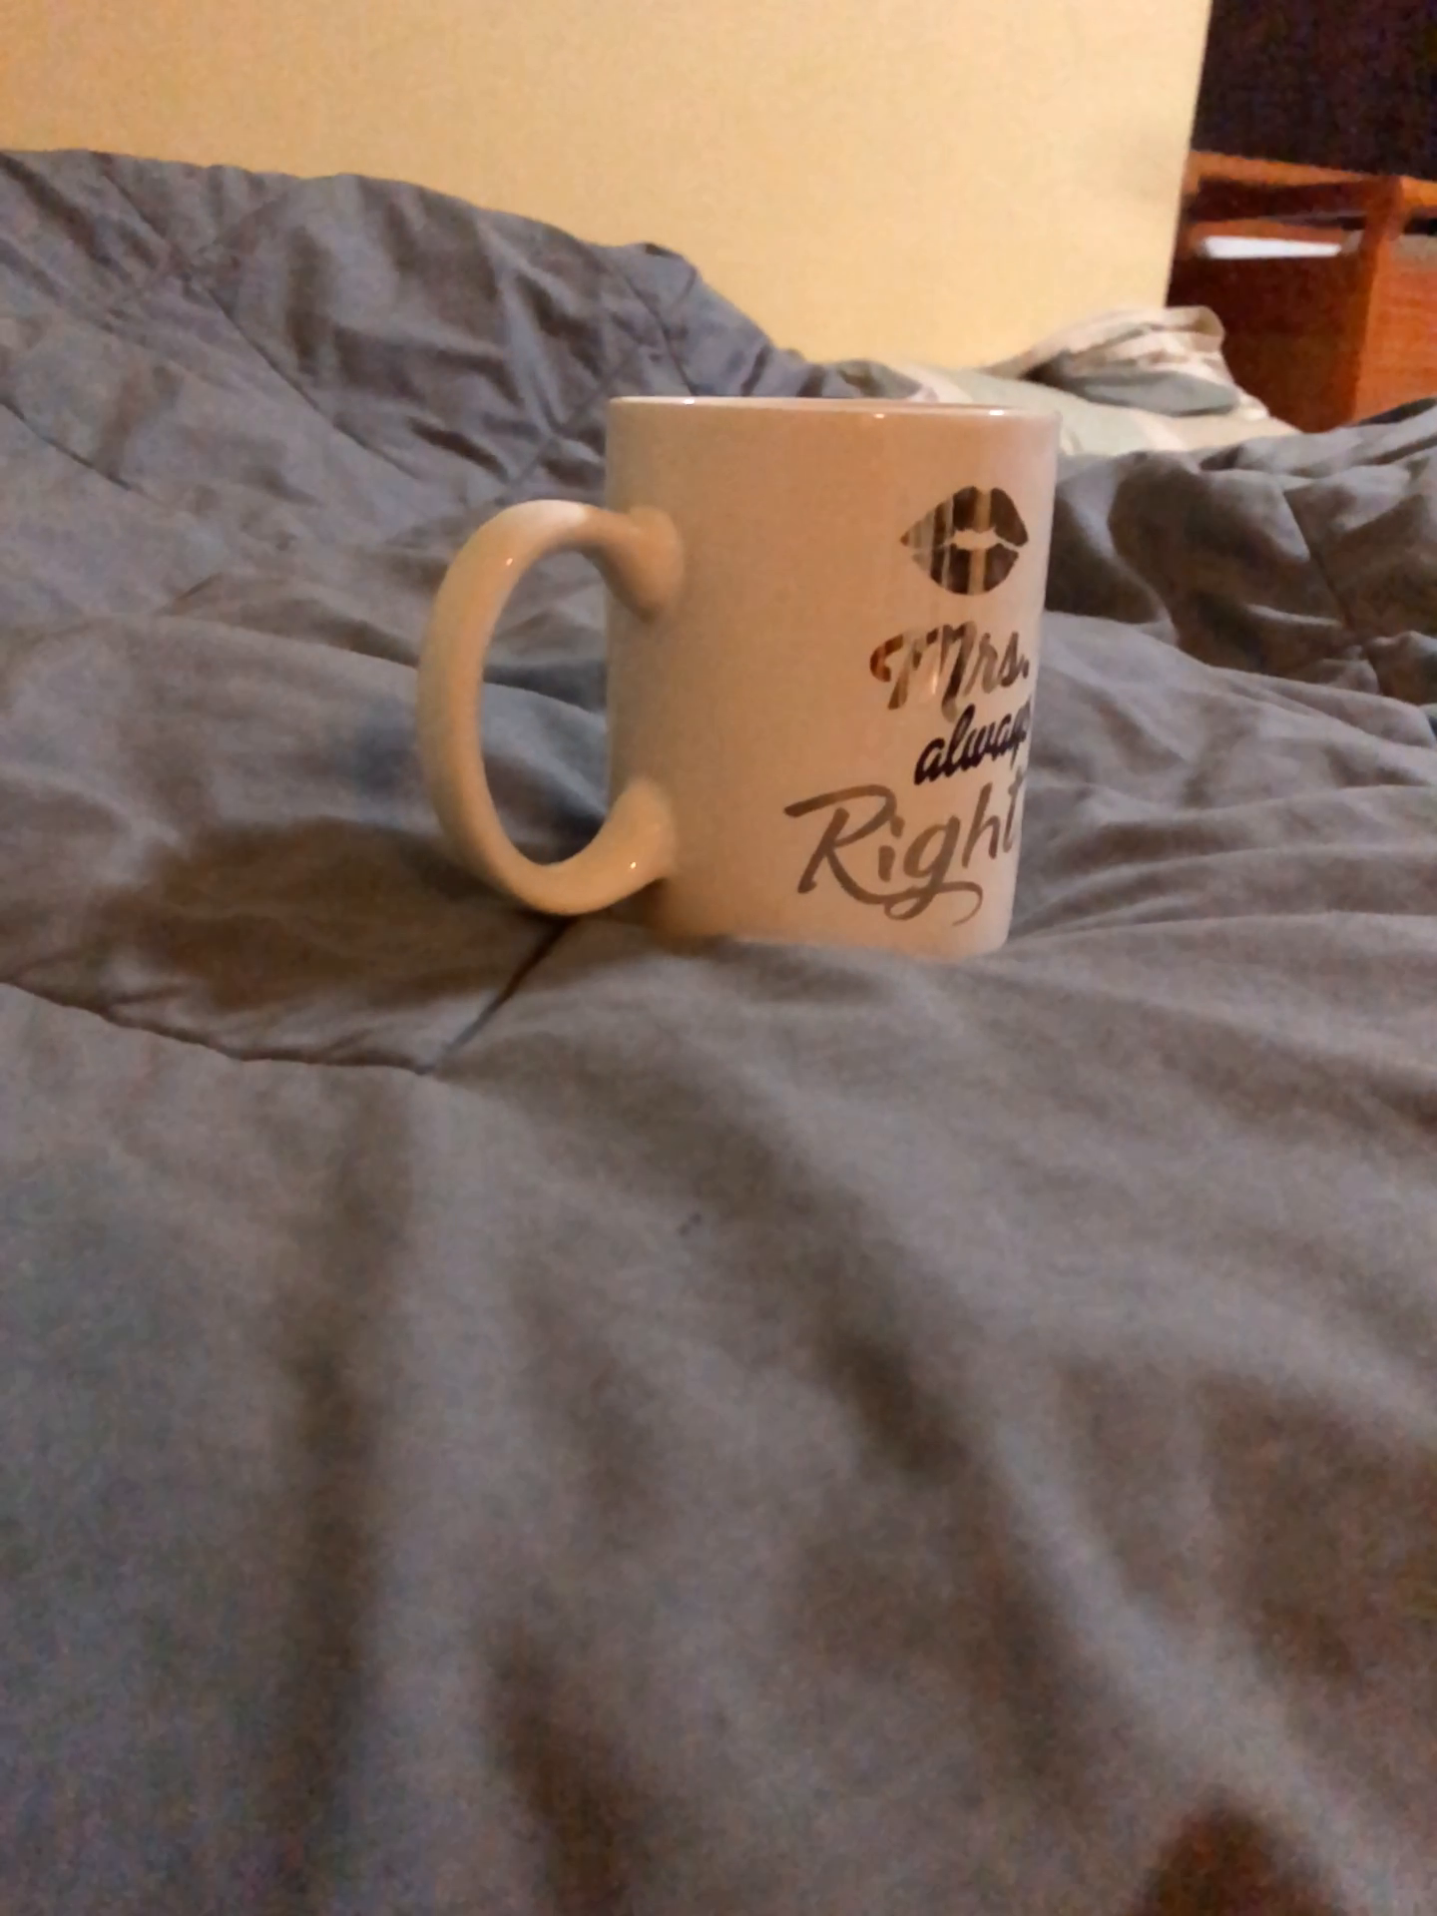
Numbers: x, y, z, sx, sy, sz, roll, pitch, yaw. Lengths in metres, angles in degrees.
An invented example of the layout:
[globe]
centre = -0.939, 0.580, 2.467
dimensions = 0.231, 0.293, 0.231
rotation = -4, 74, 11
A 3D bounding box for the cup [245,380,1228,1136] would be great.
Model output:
[cup]
centre = 0.001, -0.053, 0.320
dimensions = 0.150, 0.110, 0.110
rotation = -12, 26, -35
